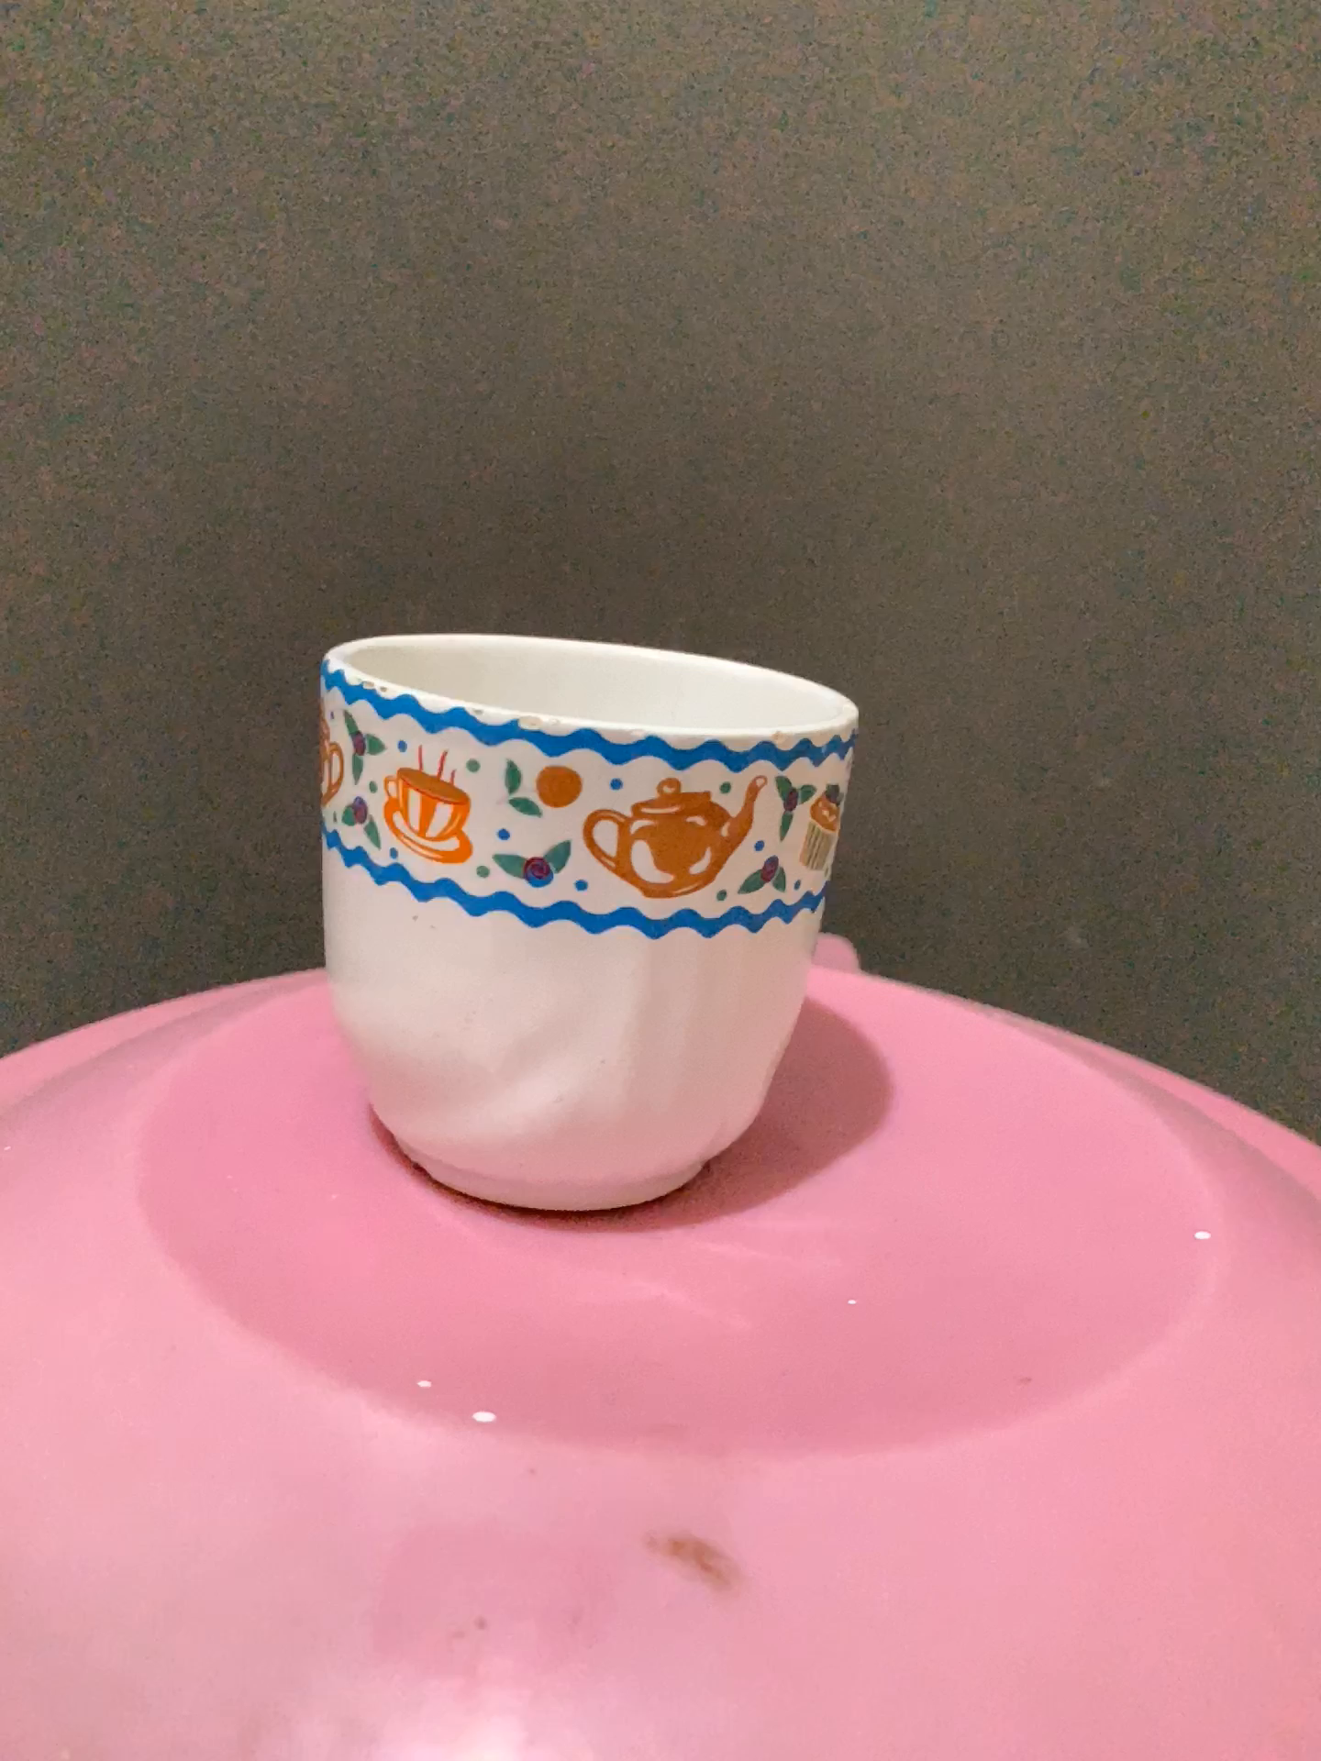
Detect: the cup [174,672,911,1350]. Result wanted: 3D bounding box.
[{"bbox_3d":[-0.012,0.008,0.185,0.070,0.060,0.070,5,13,-1],"label":"cup"}]
